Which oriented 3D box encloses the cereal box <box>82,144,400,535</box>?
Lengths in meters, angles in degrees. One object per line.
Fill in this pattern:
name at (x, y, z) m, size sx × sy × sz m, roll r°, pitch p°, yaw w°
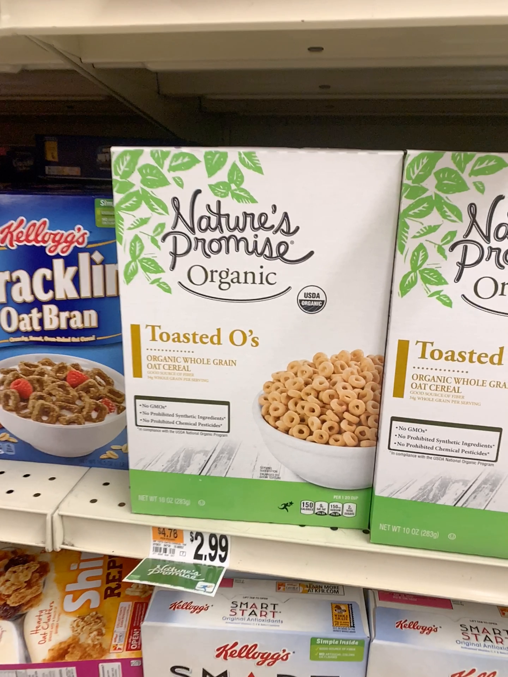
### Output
cereal box at (-0.008, 0.002, 0.385) m, size 0.190 × 0.269 × 0.070 m, roll 2°, pitch 18°, yaw 5°
